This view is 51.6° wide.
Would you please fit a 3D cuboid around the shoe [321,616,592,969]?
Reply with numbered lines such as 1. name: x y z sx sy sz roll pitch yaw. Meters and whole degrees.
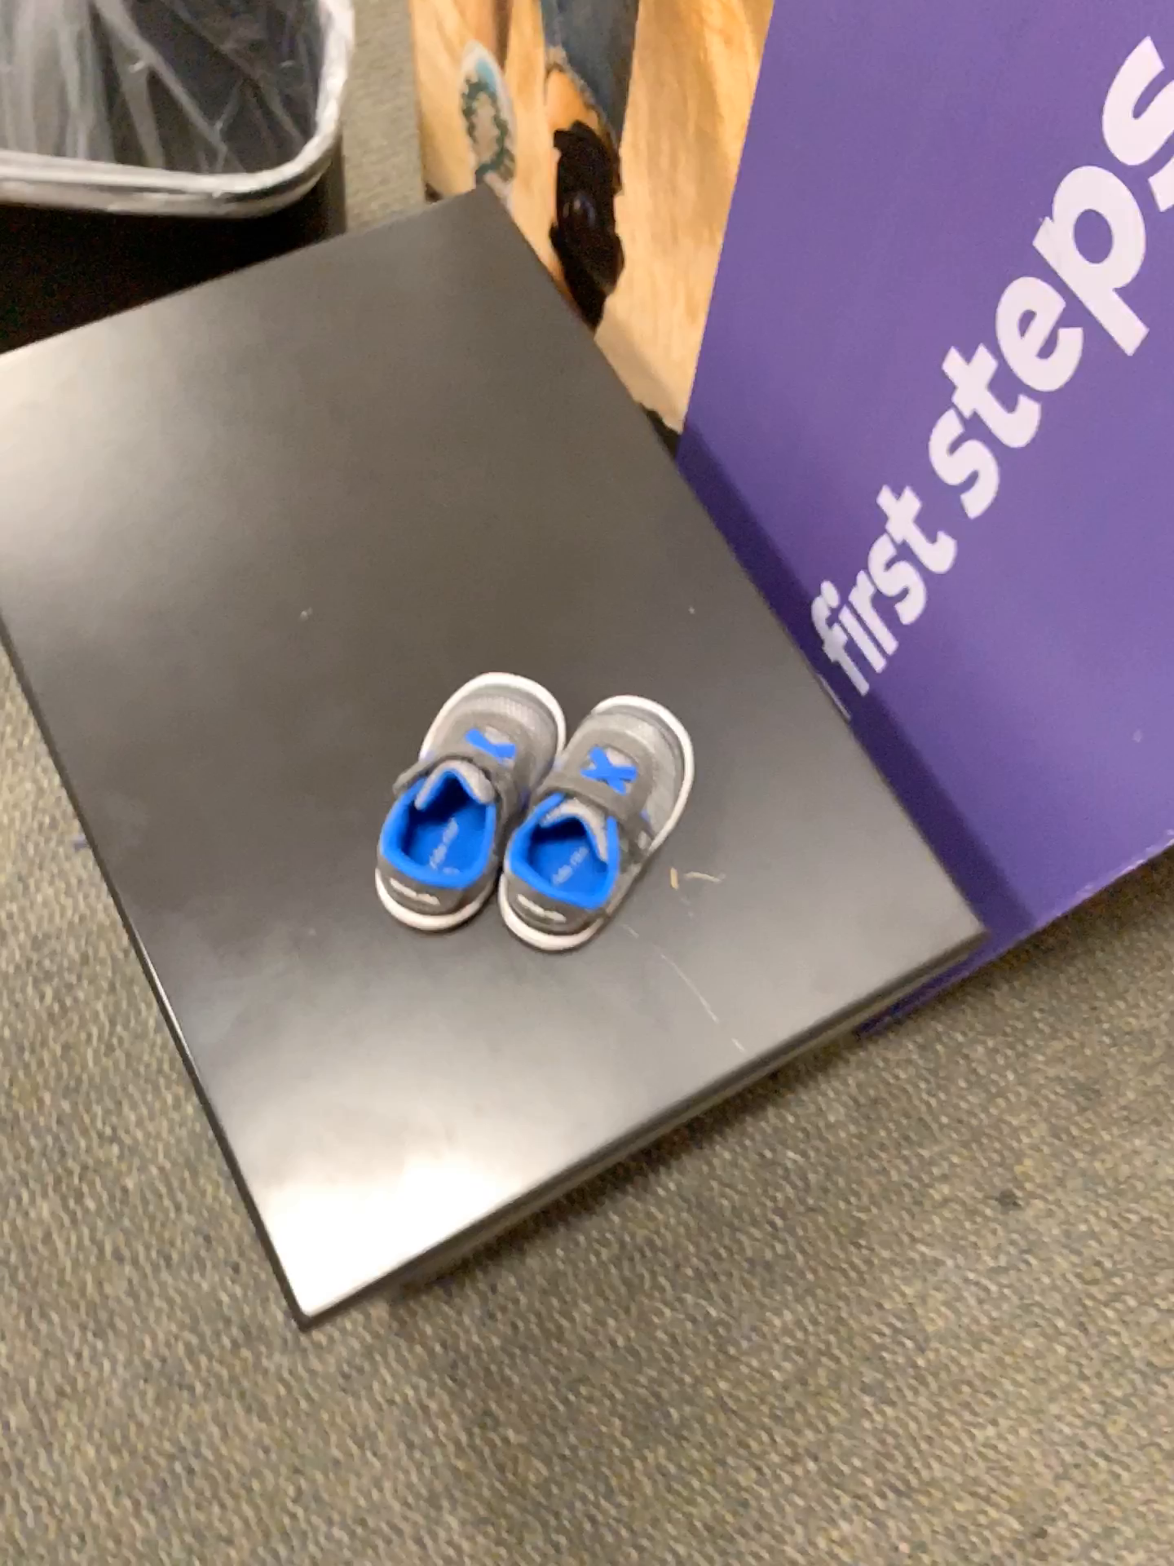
1. shoe: -0.058 0.004 0.577 0.070 0.060 0.140 22 69 5

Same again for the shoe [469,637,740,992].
1. shoe: 0.008 0.015 0.574 0.070 0.060 0.140 25 69 6
